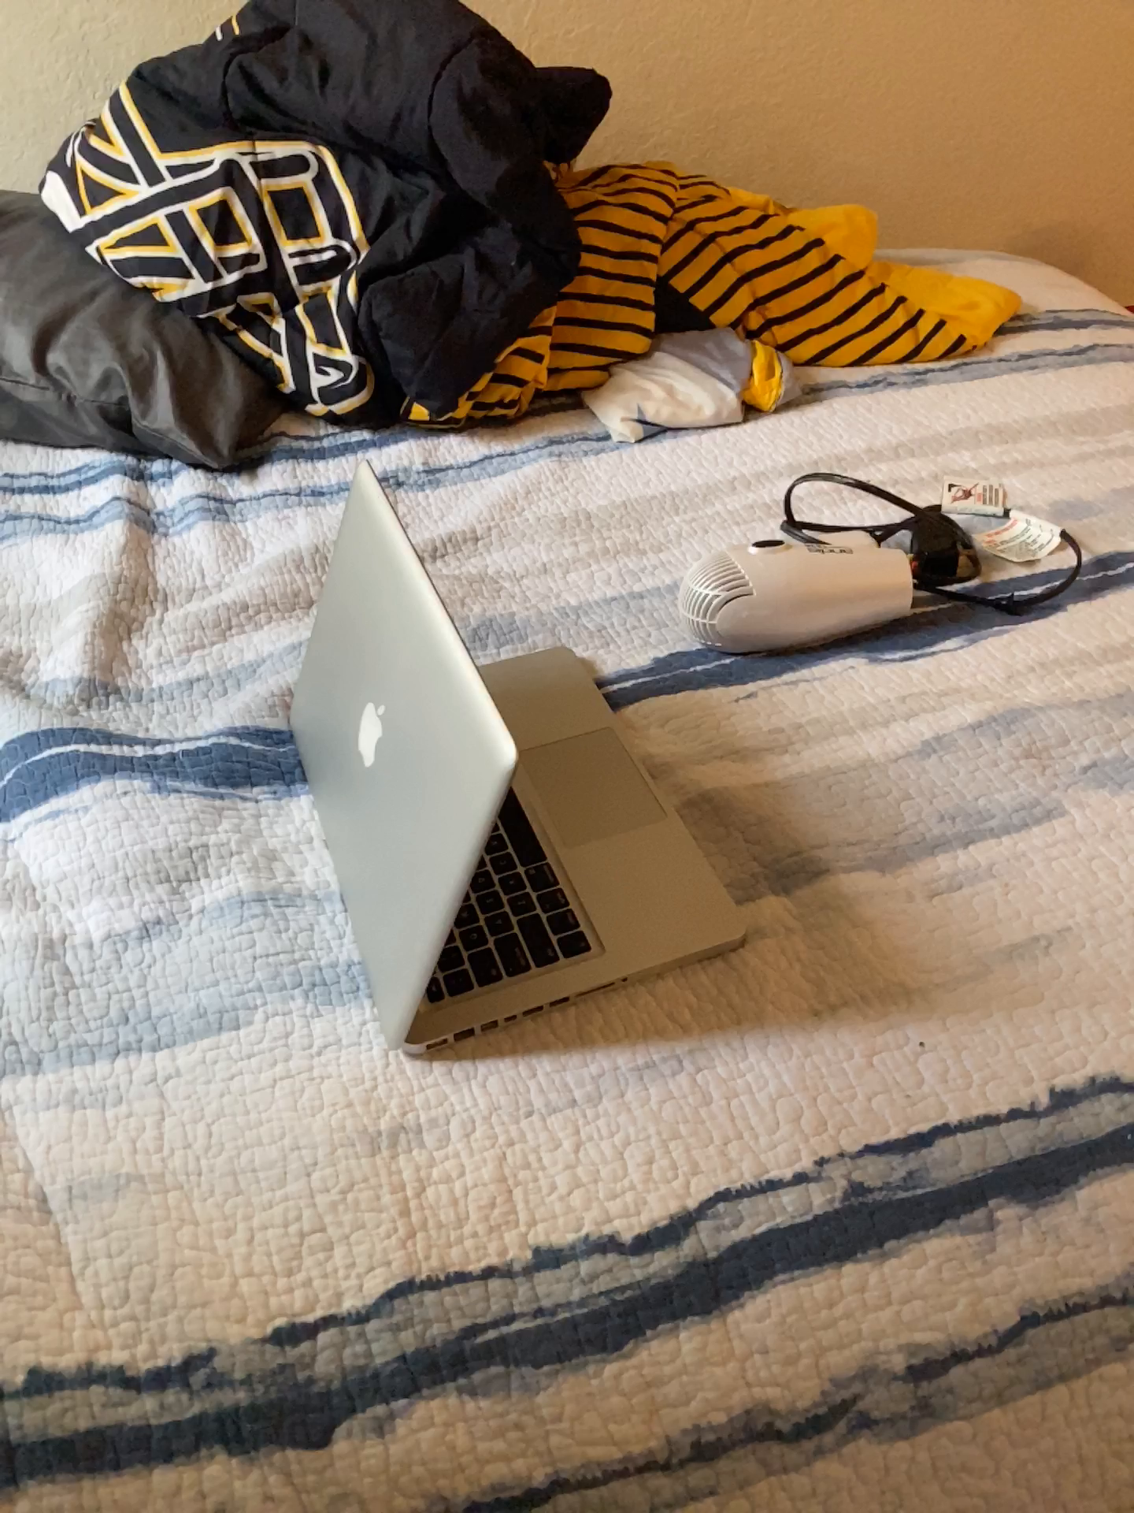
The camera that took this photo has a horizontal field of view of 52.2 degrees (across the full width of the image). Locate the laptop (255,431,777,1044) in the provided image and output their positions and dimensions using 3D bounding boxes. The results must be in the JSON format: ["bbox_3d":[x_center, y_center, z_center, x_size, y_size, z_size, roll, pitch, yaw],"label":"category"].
[{"bbox_3d":[-0.046,-0.029,0.722,0.214,0.188,0.302,-15,45,-13],"label":"laptop"}]
